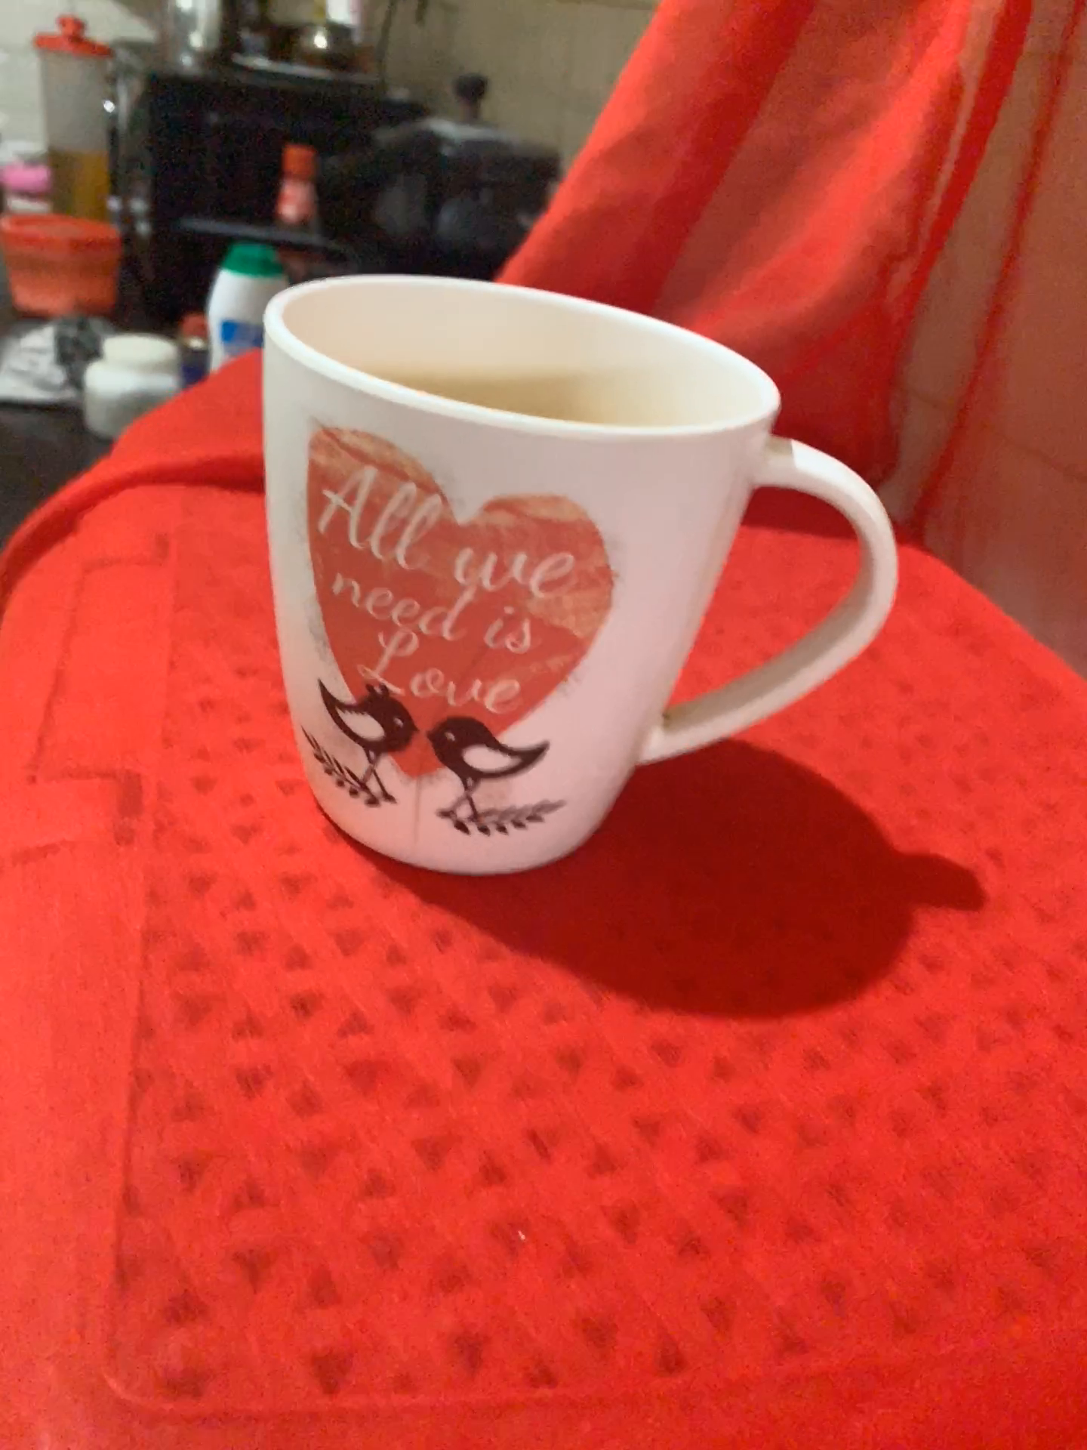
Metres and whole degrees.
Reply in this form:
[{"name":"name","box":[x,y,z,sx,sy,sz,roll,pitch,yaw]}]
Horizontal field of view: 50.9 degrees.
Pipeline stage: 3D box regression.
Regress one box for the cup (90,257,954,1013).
[{"name":"cup","box":[-0.002,-0.024,0.200,0.110,0.079,0.091,13,31,5]}]
